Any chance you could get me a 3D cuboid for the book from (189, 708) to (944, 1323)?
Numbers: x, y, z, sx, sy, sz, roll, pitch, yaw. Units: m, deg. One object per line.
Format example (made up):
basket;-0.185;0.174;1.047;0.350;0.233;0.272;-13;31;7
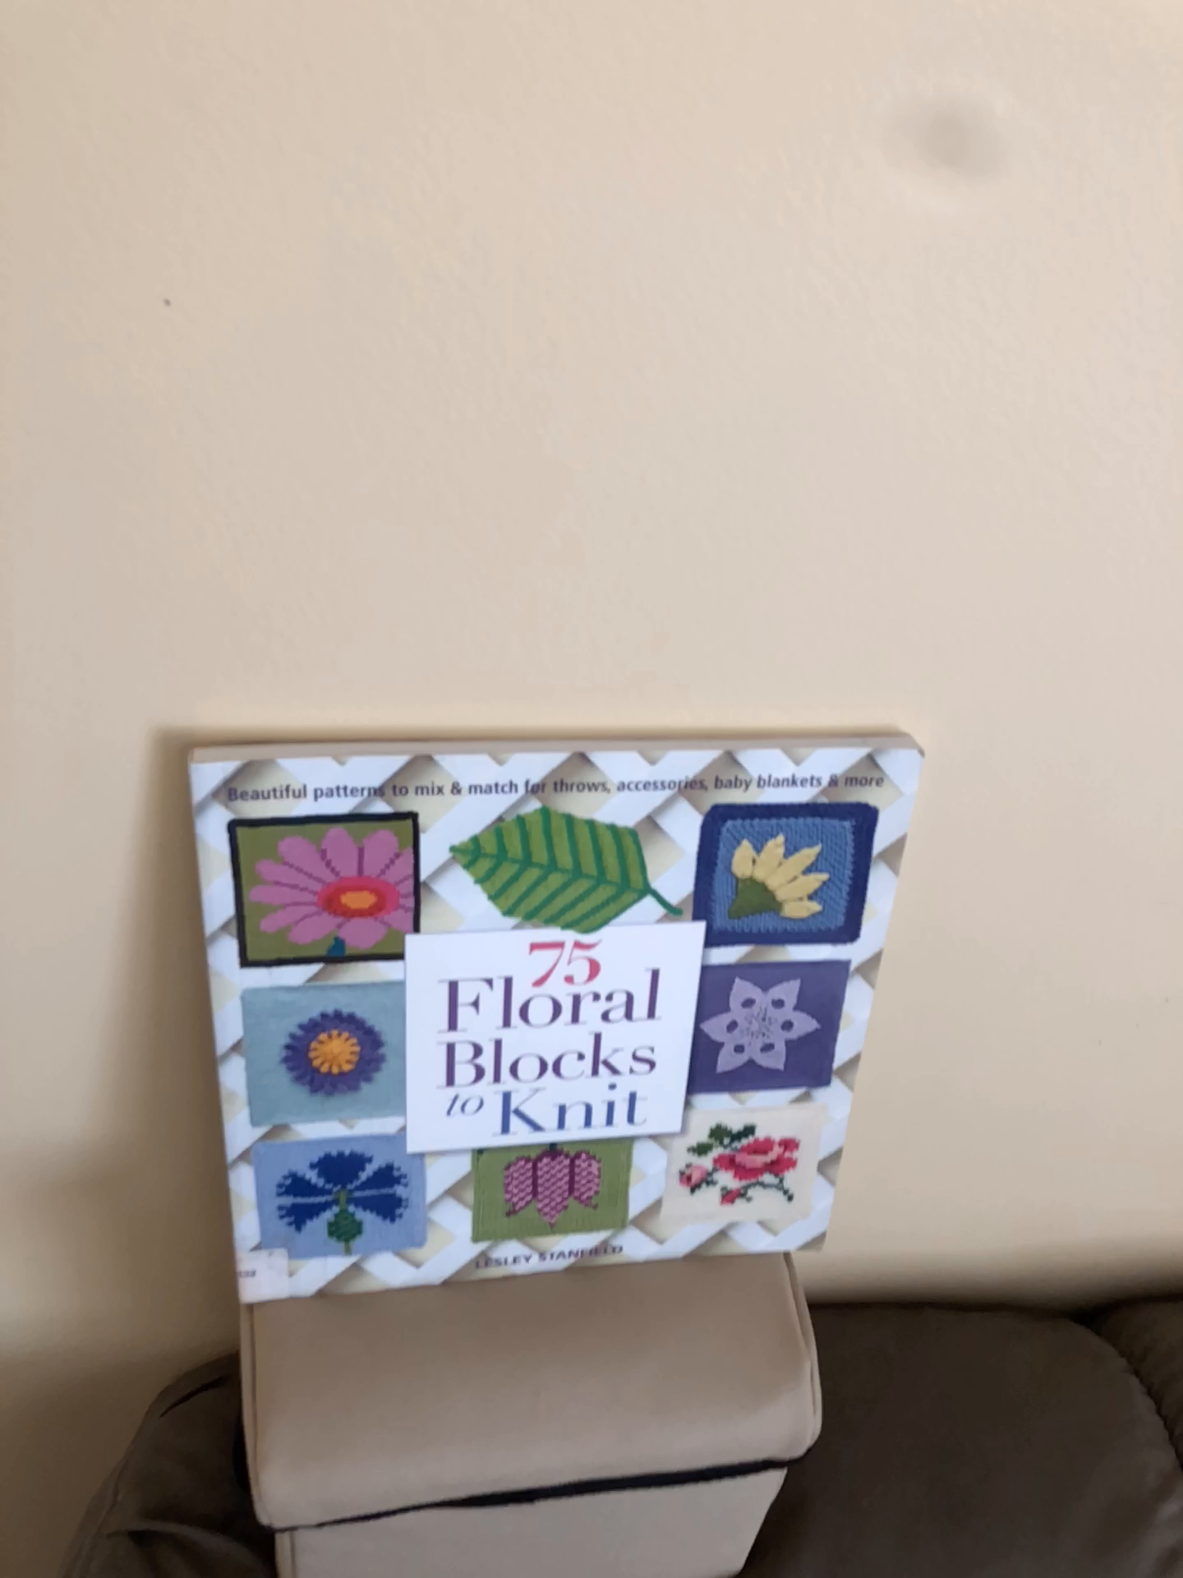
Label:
book;-0.011;0.077;0.424;0.218;0.215;0.020;-1;27;-12
